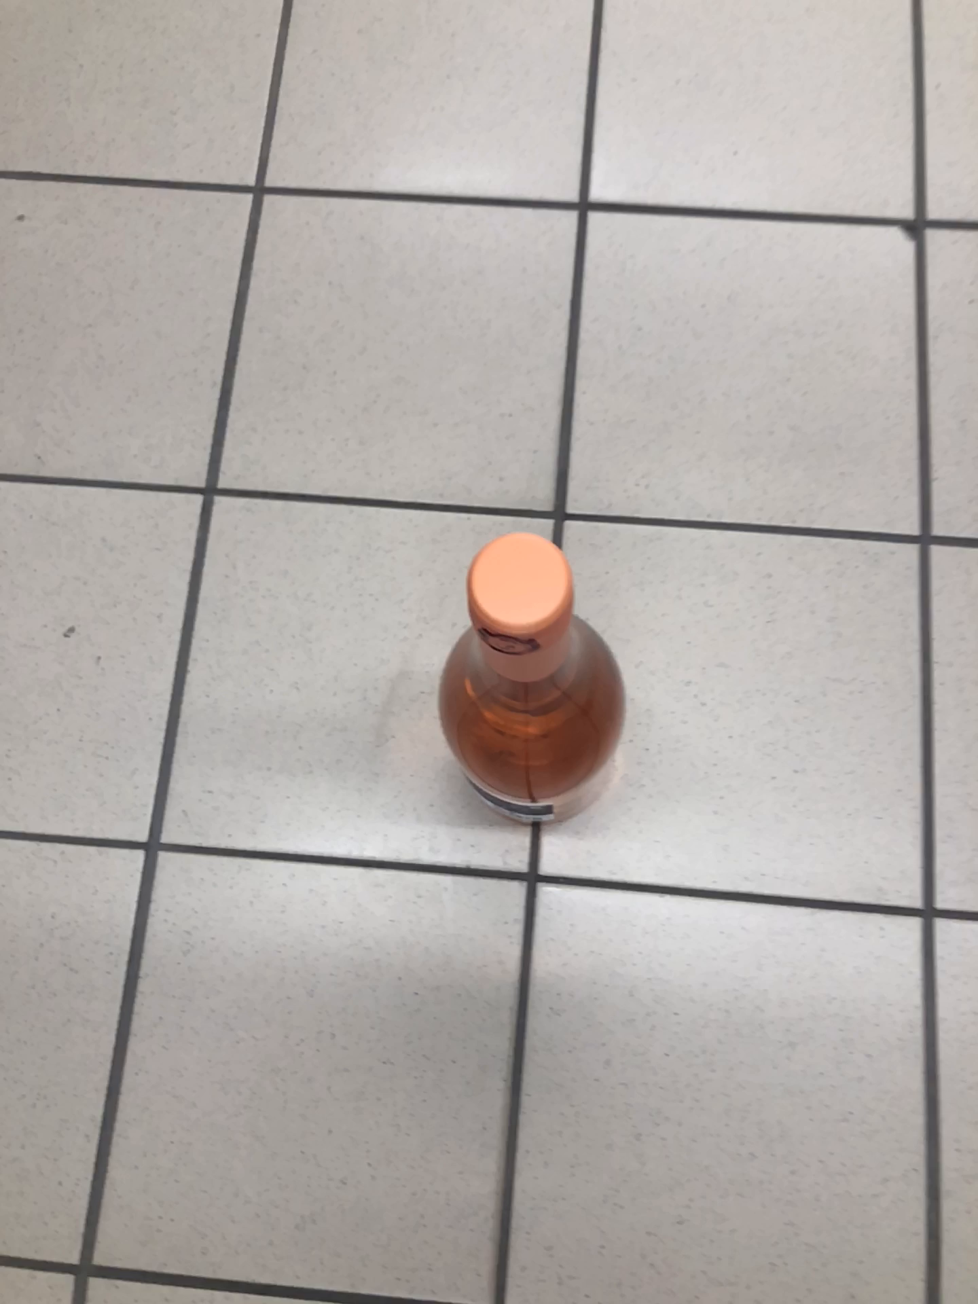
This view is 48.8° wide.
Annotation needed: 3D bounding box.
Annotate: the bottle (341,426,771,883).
[{"bbox_3d":[0.024,0.026,0.432,0.090,0.280,0.080,30,78,10],"label":"bottle"}]
